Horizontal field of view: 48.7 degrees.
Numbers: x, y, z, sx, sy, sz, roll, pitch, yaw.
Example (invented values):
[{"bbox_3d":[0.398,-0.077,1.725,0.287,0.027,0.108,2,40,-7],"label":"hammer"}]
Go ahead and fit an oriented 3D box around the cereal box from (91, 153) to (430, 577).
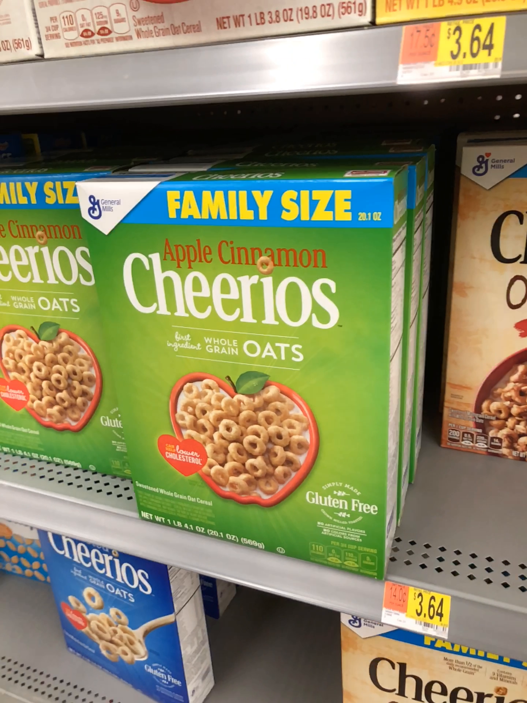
[{"bbox_3d":[0.000,0.010,0.463,0.230,0.309,0.060,7,25,22],"label":"cereal box"}]
